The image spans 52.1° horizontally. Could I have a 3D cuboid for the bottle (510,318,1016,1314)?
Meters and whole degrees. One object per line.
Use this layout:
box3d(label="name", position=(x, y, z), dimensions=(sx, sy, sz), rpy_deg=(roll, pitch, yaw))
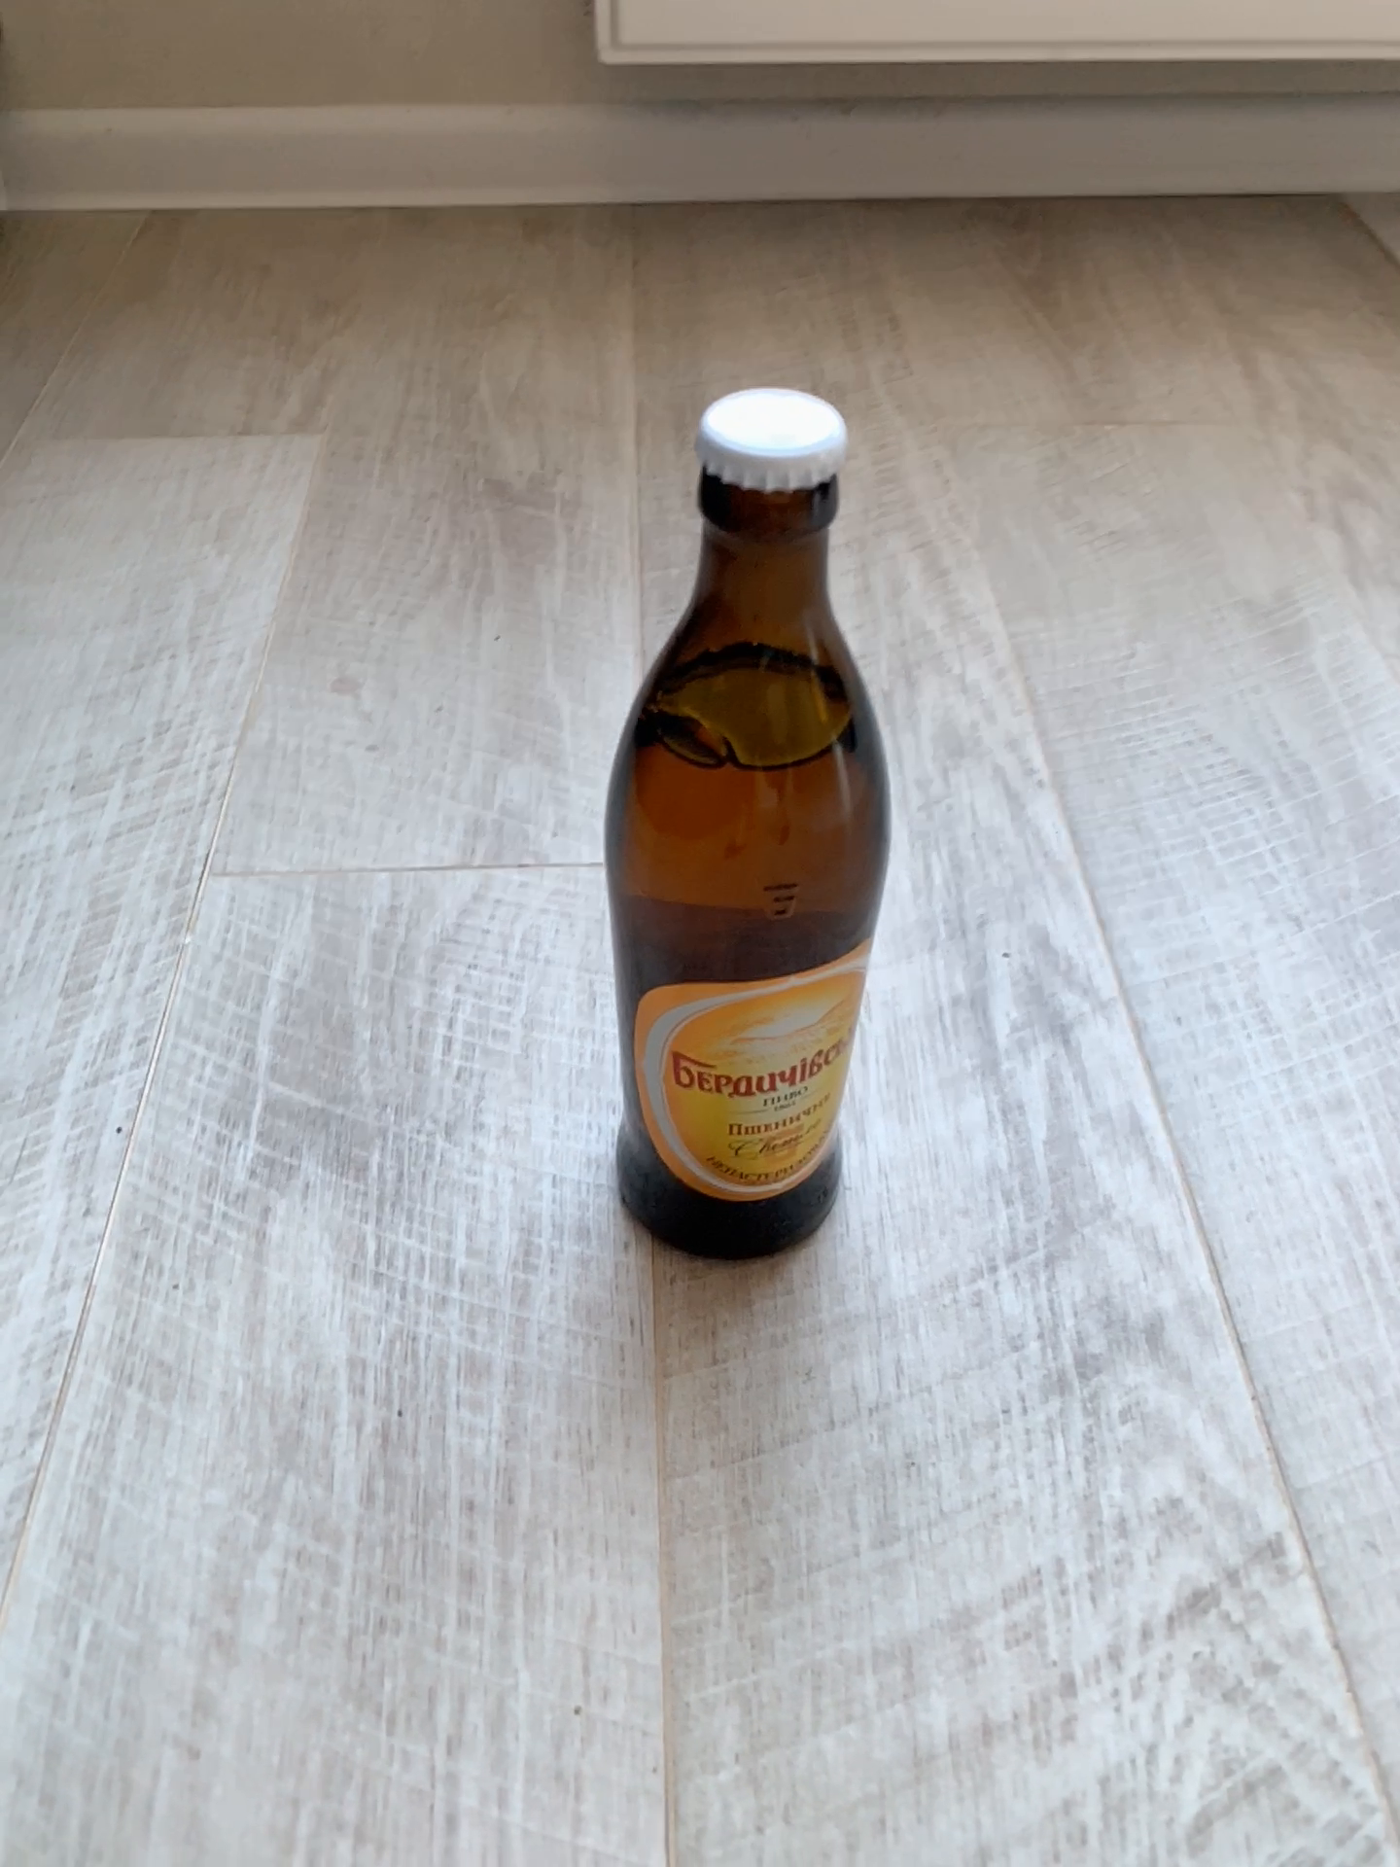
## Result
box3d(label="bottle", position=(0.007, -0.008, 0.329), dimensions=(0.070, 0.229, 0.070), rpy_deg=(0, 46, 0))
